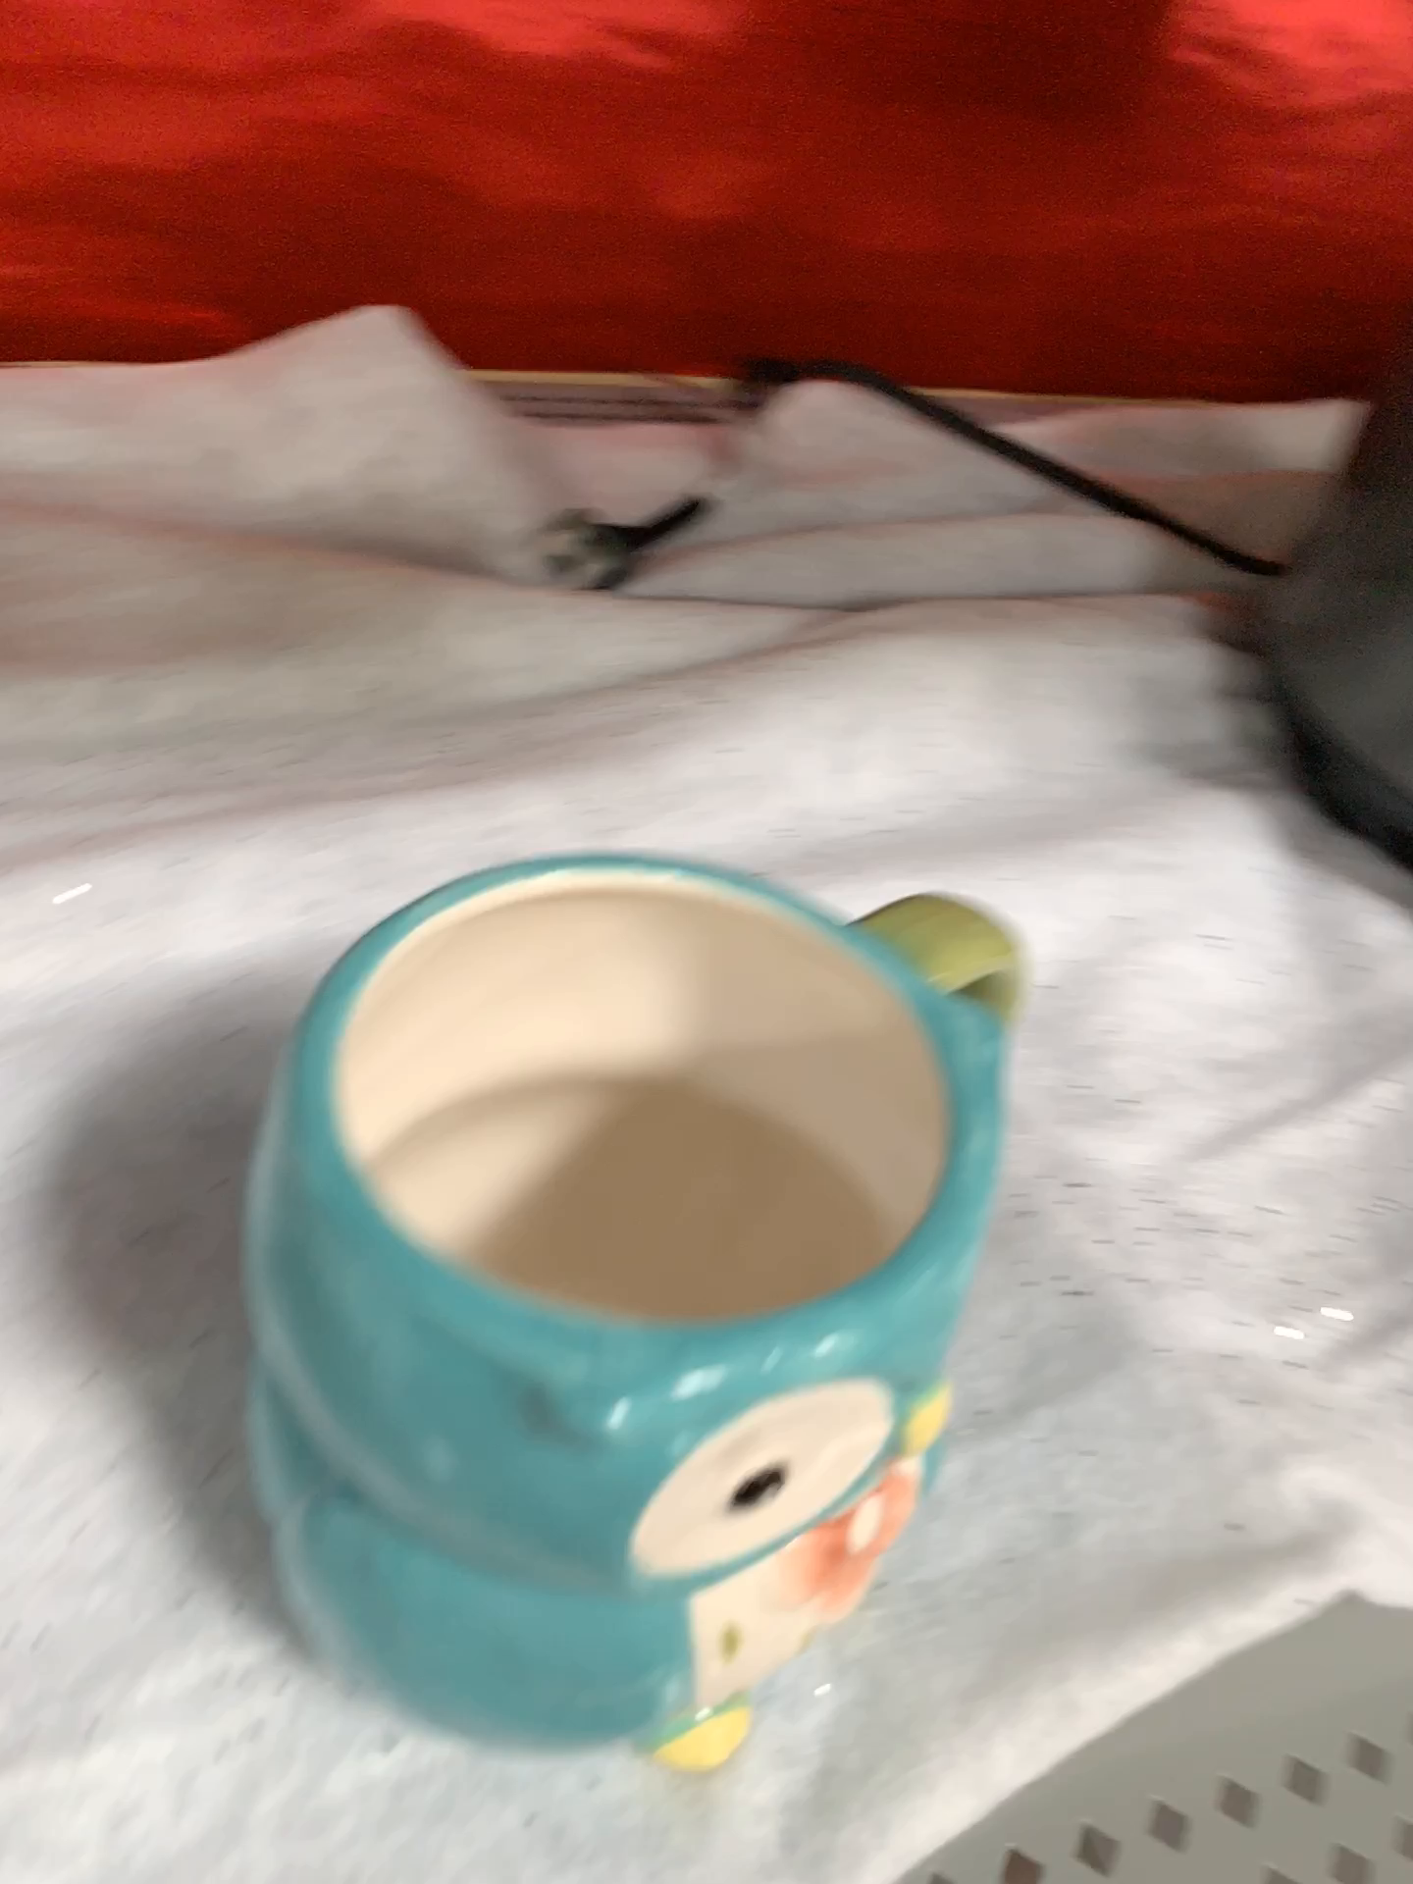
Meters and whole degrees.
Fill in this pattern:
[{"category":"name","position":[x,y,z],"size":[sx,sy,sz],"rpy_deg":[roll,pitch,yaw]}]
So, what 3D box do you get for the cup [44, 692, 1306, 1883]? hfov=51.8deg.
[{"category":"cup","position":[-0.003,0.046,0.218],"size":[0.108,0.087,0.127],"rpy_deg":[36,48,23]}]
